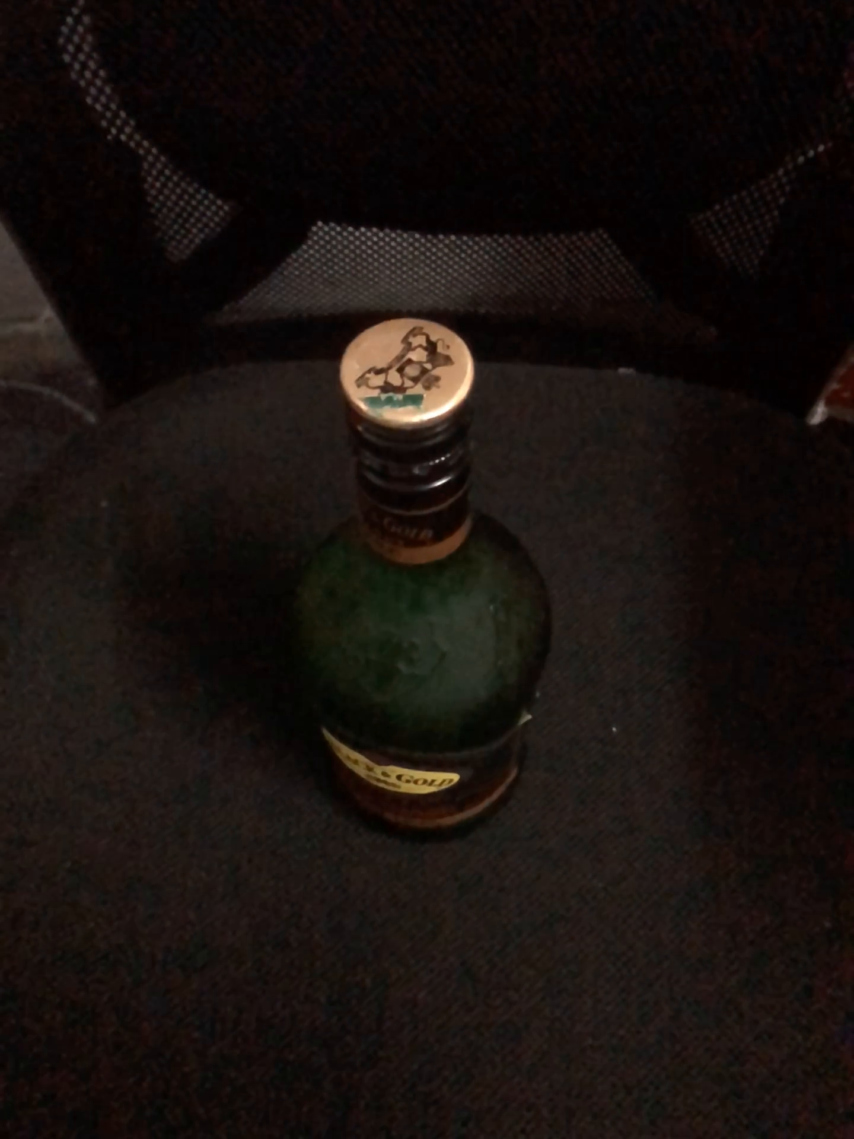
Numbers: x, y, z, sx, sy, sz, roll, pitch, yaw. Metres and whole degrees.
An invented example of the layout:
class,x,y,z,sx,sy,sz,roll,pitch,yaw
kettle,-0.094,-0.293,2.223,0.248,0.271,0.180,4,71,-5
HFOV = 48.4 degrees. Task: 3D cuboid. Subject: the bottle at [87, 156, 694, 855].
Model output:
class,x,y,z,sx,sy,sz,roll,pitch,yaw
bottle,-0.007,0.012,0.325,0.110,0.269,0.080,19,64,9
